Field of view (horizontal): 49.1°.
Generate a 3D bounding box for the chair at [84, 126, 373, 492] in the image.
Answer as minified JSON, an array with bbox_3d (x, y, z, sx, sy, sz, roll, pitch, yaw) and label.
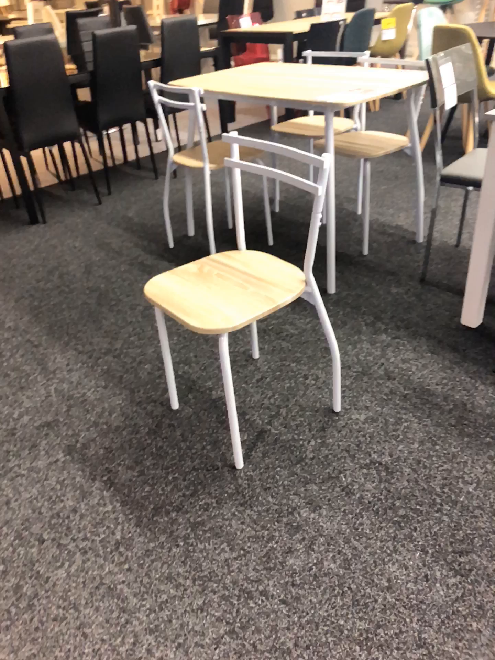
[{"bbox_3d":[-0.028,-0.085,1.432,0.442,0.726,0.500,-30,40,-34],"label":"chair"}]
